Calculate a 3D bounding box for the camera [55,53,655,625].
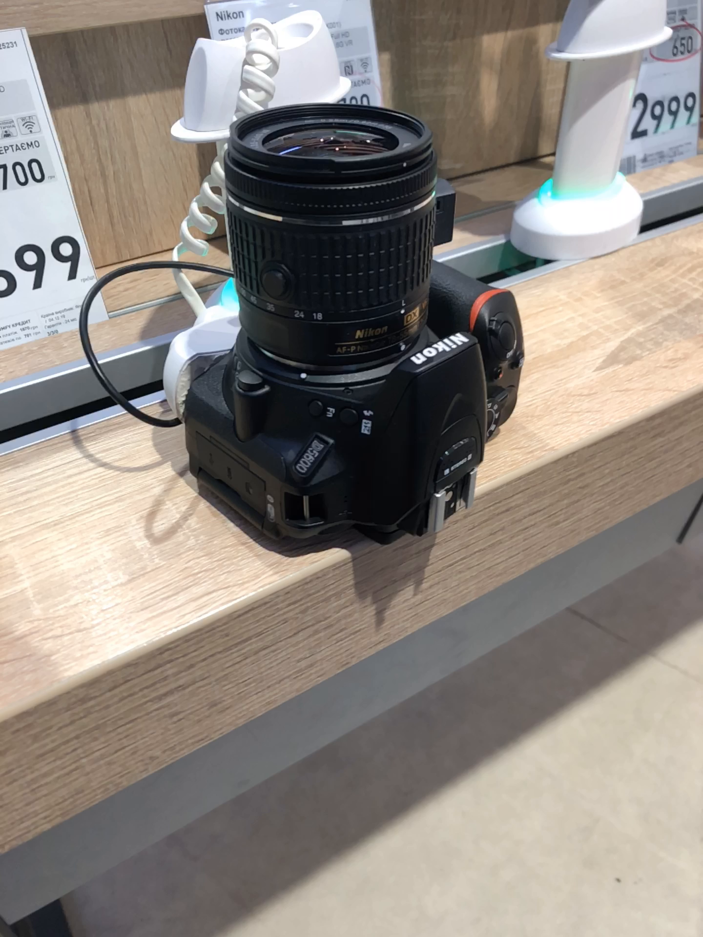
[{"bbox_3d":[0.004,-0.055,0.264,0.115,0.117,0.132,32,50,32],"label":"camera"}]
